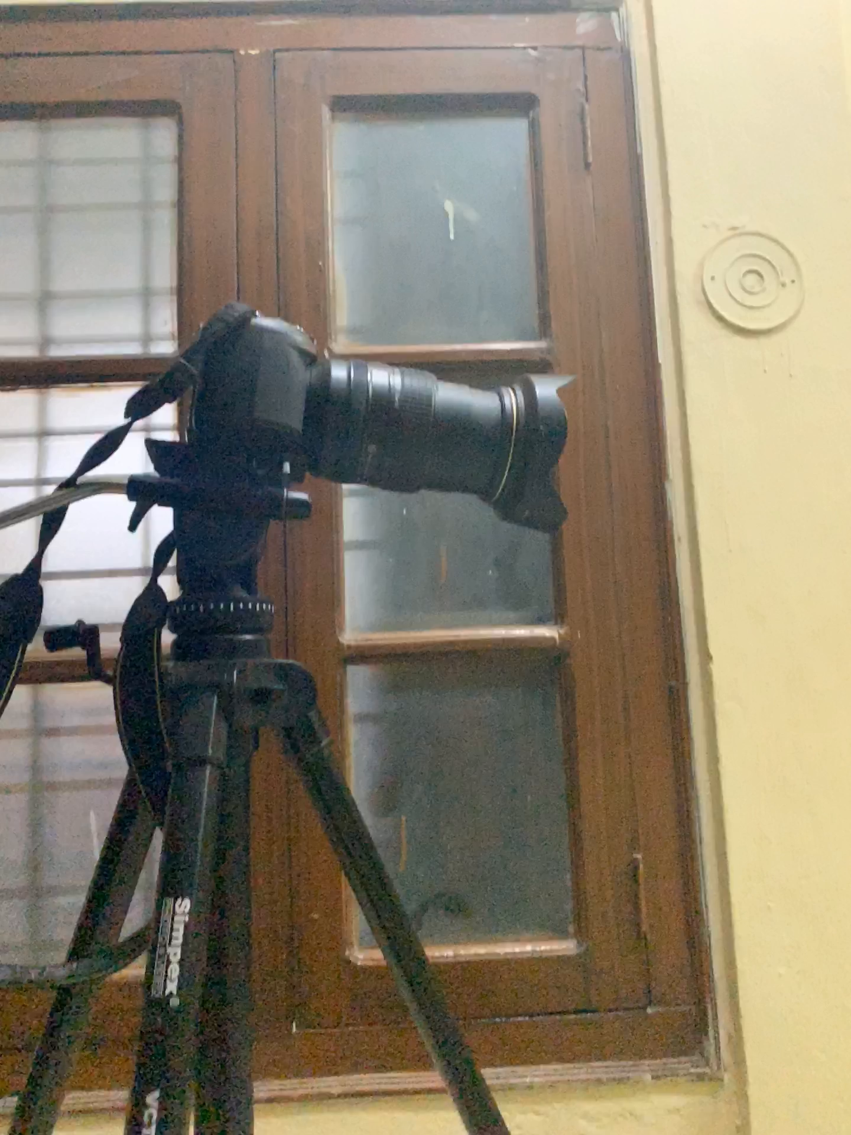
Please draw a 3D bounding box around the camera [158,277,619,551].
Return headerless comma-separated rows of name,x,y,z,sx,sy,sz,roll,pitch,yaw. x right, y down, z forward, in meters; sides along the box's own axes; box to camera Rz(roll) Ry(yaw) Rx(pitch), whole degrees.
camera,-0.025,-0.092,0.588,0.270,0.120,0.130,5,-8,-8
